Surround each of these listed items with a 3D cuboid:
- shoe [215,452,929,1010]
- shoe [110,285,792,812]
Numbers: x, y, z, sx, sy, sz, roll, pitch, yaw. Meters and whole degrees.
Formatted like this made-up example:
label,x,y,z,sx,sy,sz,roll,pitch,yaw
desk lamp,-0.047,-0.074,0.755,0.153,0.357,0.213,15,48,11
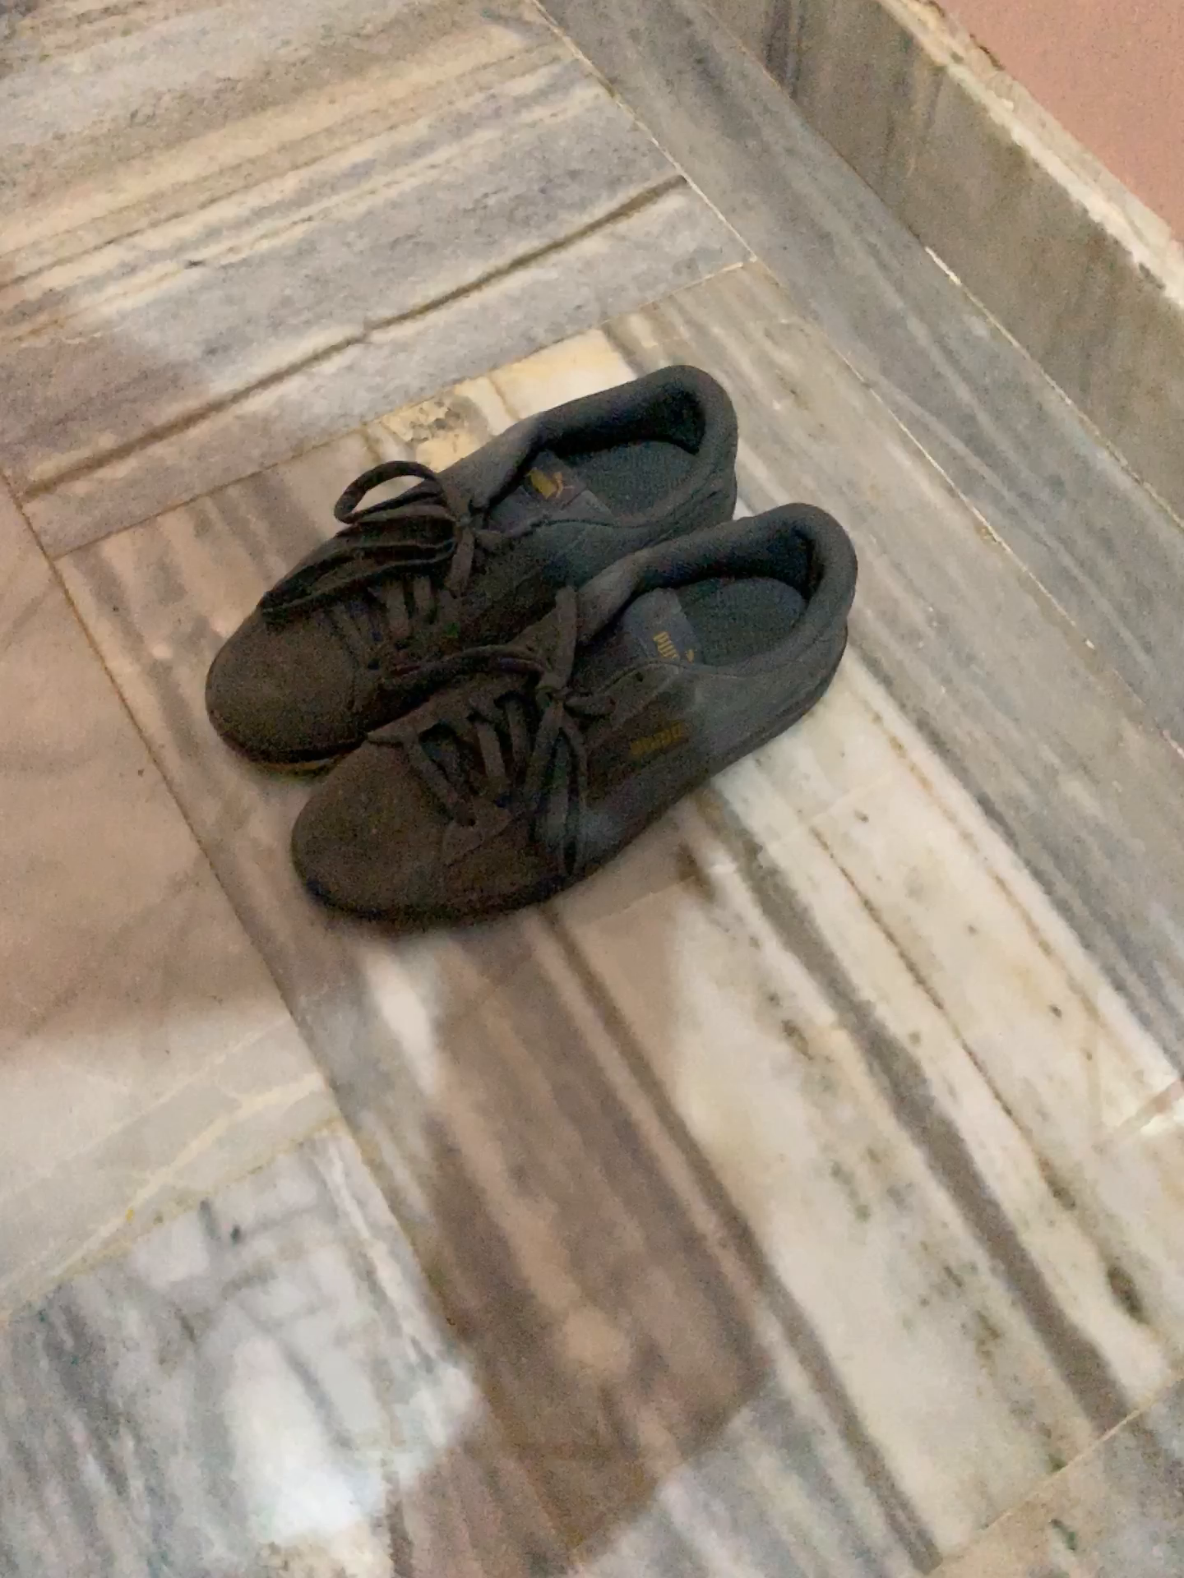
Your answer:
label,x,y,z,sx,sy,sz,roll,pitch,yaw
shoe,-0.006,-0.028,0.562,0.290,0.100,0.110,-29,72,-14
shoe,-0.062,-0.119,0.592,0.290,0.100,0.110,-29,72,-14
